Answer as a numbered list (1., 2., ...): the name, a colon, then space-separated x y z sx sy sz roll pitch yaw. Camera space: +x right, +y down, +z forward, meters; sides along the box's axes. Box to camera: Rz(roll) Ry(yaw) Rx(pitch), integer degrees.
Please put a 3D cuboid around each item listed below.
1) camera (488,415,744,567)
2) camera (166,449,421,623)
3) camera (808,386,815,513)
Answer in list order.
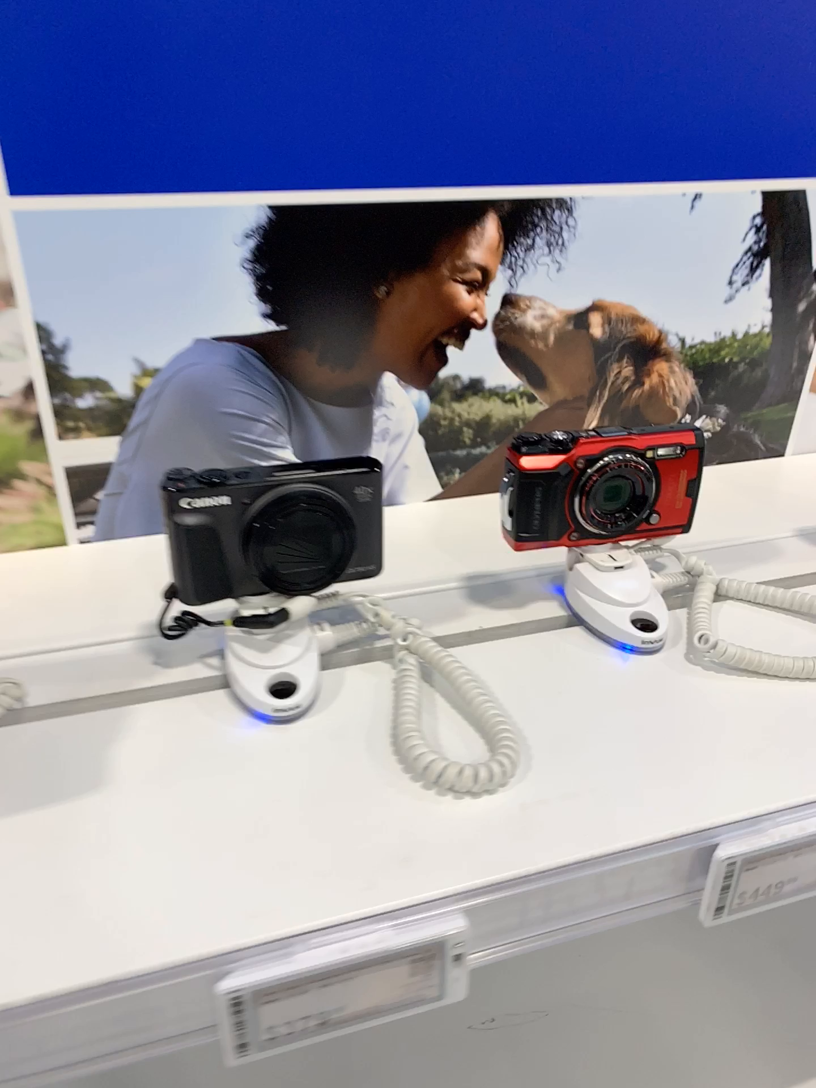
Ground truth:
1. camera: 0.118 -0.033 0.487 0.130 0.060 0.050 -7 29 -15
2. camera: -0.059 -0.007 0.433 0.120 0.060 0.050 -7 29 -15
3. camera: 0.336 -0.064 0.558 0.110 0.060 0.050 -7 29 -15
